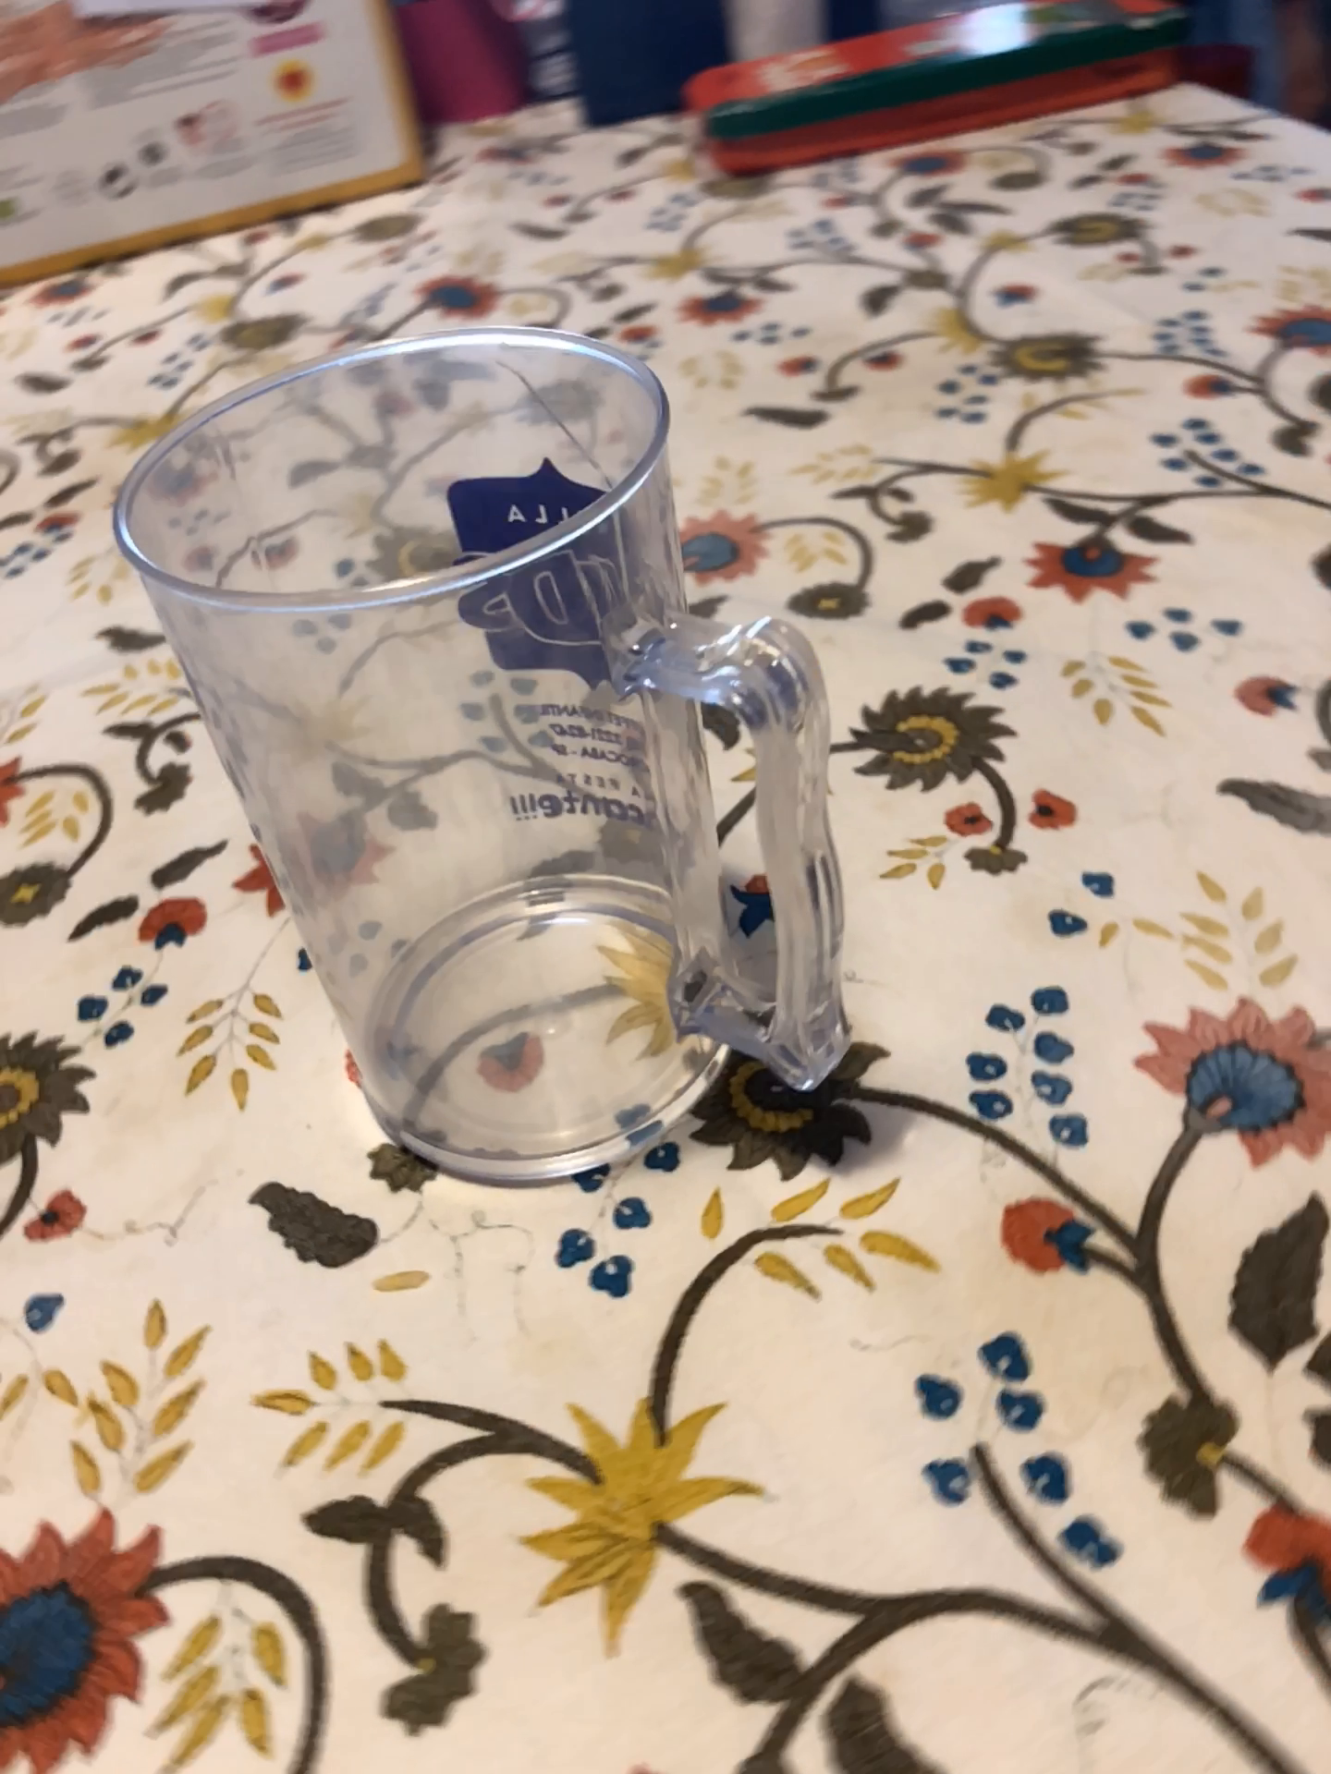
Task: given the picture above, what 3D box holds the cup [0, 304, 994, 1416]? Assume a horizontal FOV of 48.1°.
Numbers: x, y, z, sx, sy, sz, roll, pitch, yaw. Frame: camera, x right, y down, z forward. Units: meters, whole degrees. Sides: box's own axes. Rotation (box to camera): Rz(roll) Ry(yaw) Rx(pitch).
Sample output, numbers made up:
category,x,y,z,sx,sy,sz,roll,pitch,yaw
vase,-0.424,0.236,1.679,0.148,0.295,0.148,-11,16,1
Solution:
category,x,y,z,sx,sy,sz,roll,pitch,yaw
cup,-0.021,-0.008,0.215,0.110,0.109,0.080,18,49,28
